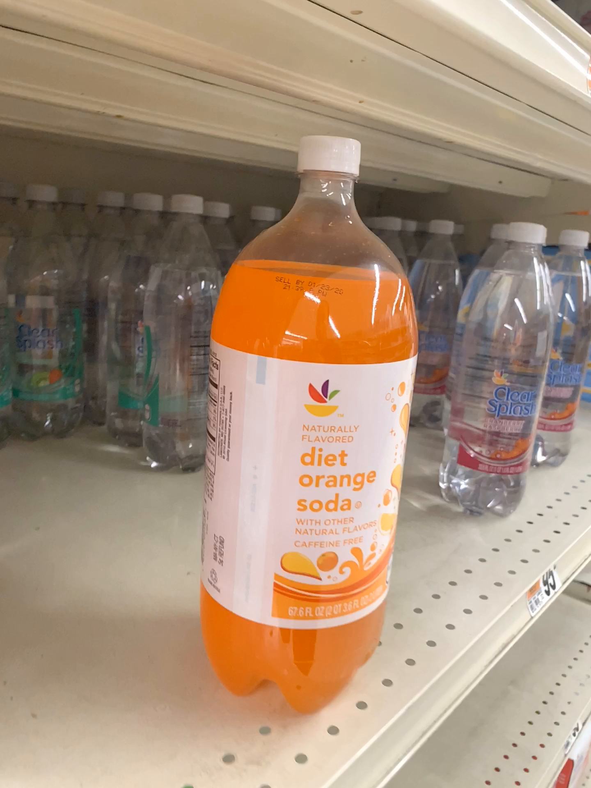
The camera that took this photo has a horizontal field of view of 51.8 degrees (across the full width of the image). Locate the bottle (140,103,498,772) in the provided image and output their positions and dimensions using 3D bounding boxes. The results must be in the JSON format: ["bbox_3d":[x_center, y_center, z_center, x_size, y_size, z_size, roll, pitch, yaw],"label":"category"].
[{"bbox_3d":[0.000,0.017,0.324,0.120,0.289,0.110,5,16,-1],"label":"bottle"}]
